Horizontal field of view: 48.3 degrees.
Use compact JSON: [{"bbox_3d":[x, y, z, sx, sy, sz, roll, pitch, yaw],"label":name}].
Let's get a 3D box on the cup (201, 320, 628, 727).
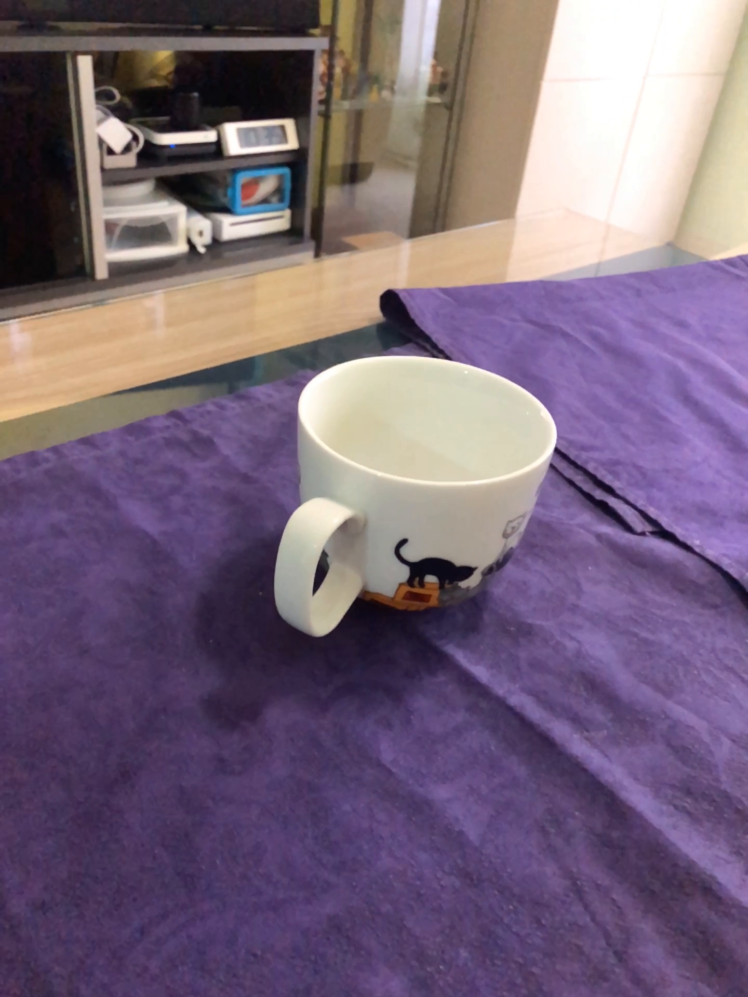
[{"bbox_3d":[0.018,-0.003,0.316,0.090,0.070,0.141,27,39,26],"label":"cup"}]
